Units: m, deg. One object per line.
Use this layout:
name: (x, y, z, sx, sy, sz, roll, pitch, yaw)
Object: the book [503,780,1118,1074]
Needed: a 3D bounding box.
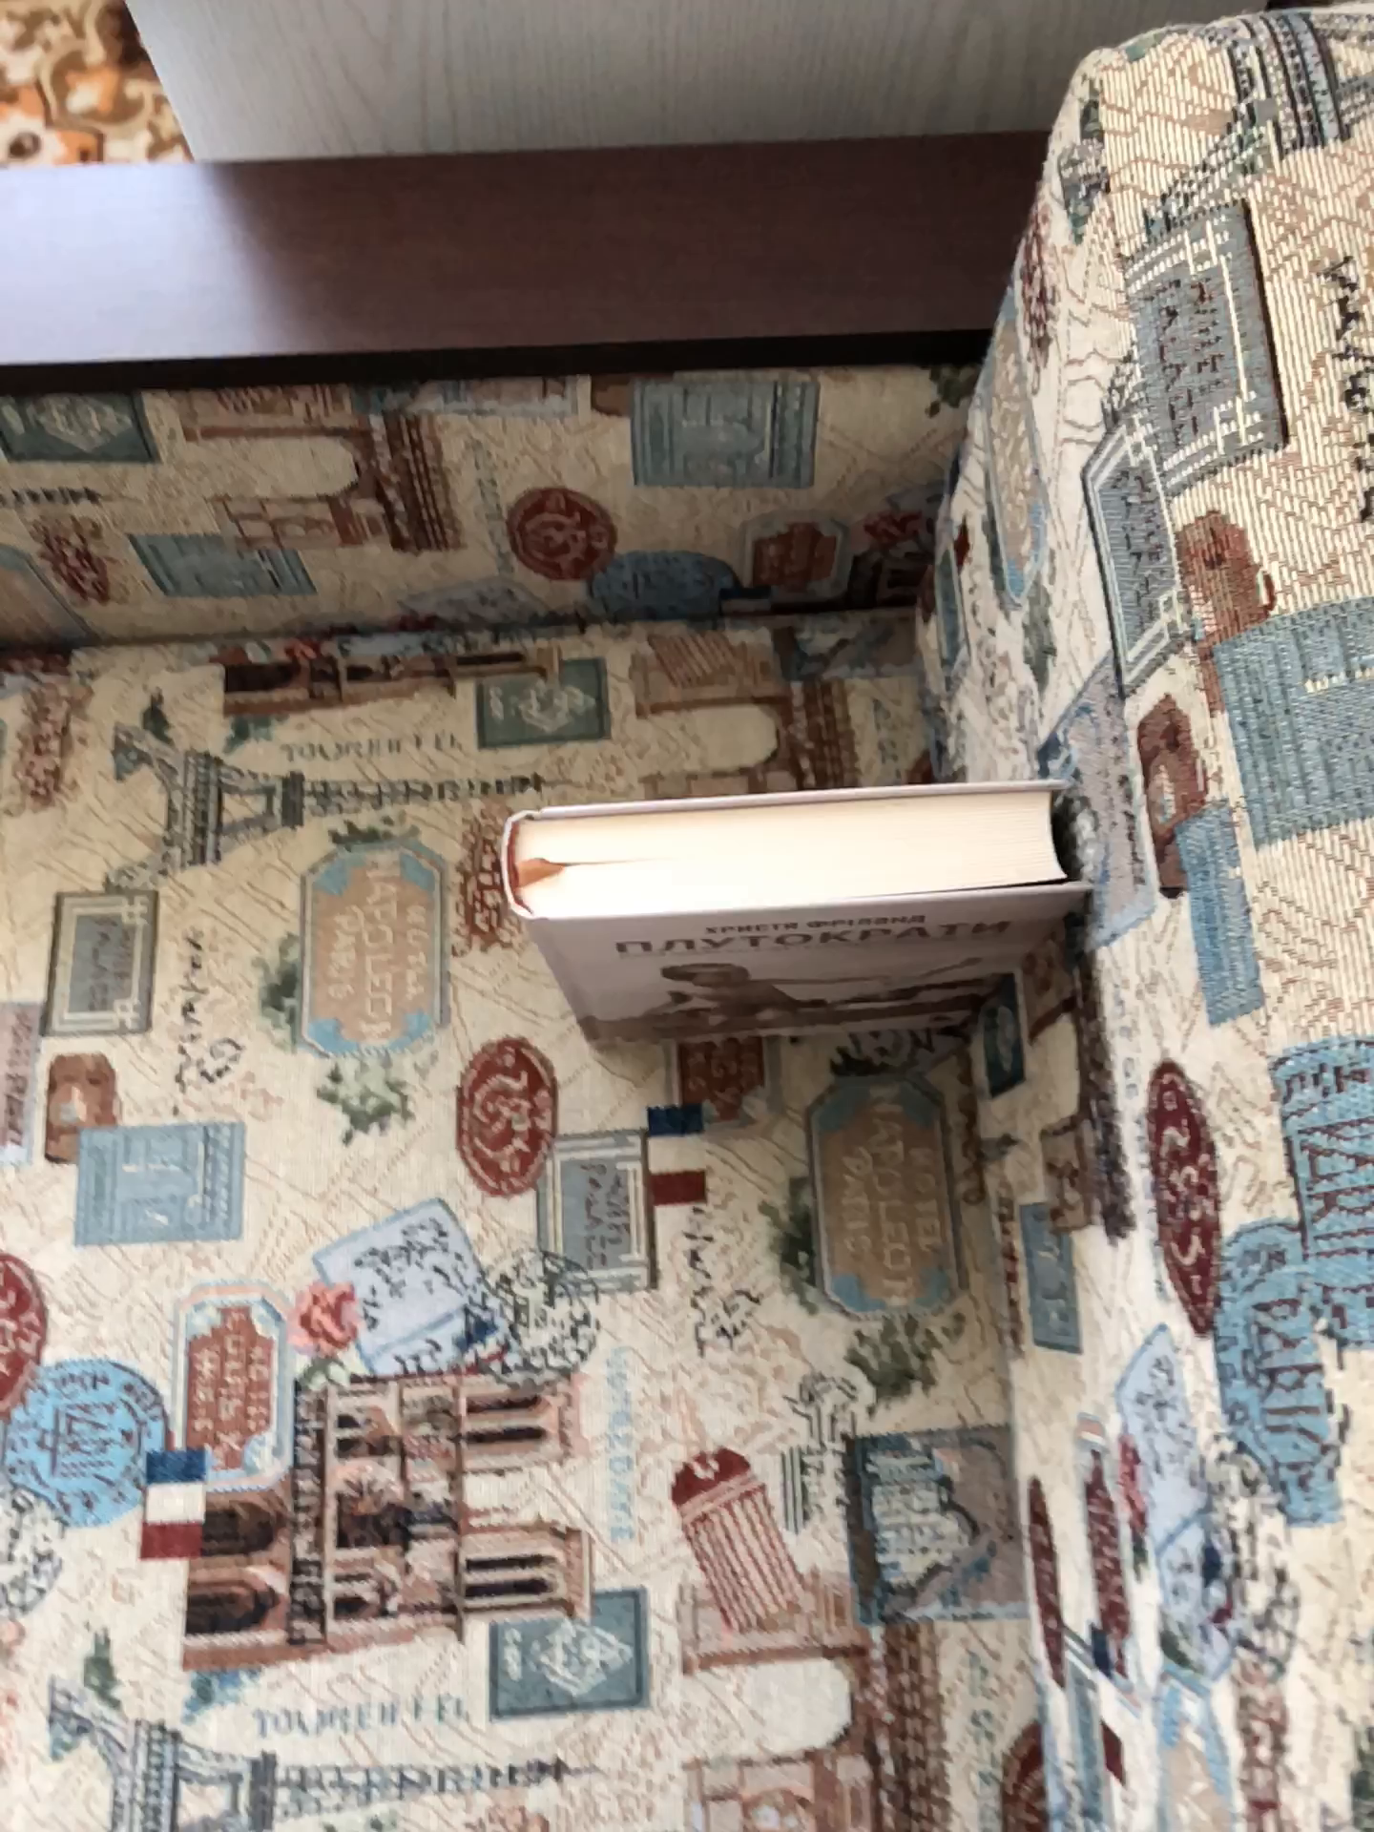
book: (0.033, 0.013, 0.498, 0.157, 0.216, 0.036, -4, 76, 0)
